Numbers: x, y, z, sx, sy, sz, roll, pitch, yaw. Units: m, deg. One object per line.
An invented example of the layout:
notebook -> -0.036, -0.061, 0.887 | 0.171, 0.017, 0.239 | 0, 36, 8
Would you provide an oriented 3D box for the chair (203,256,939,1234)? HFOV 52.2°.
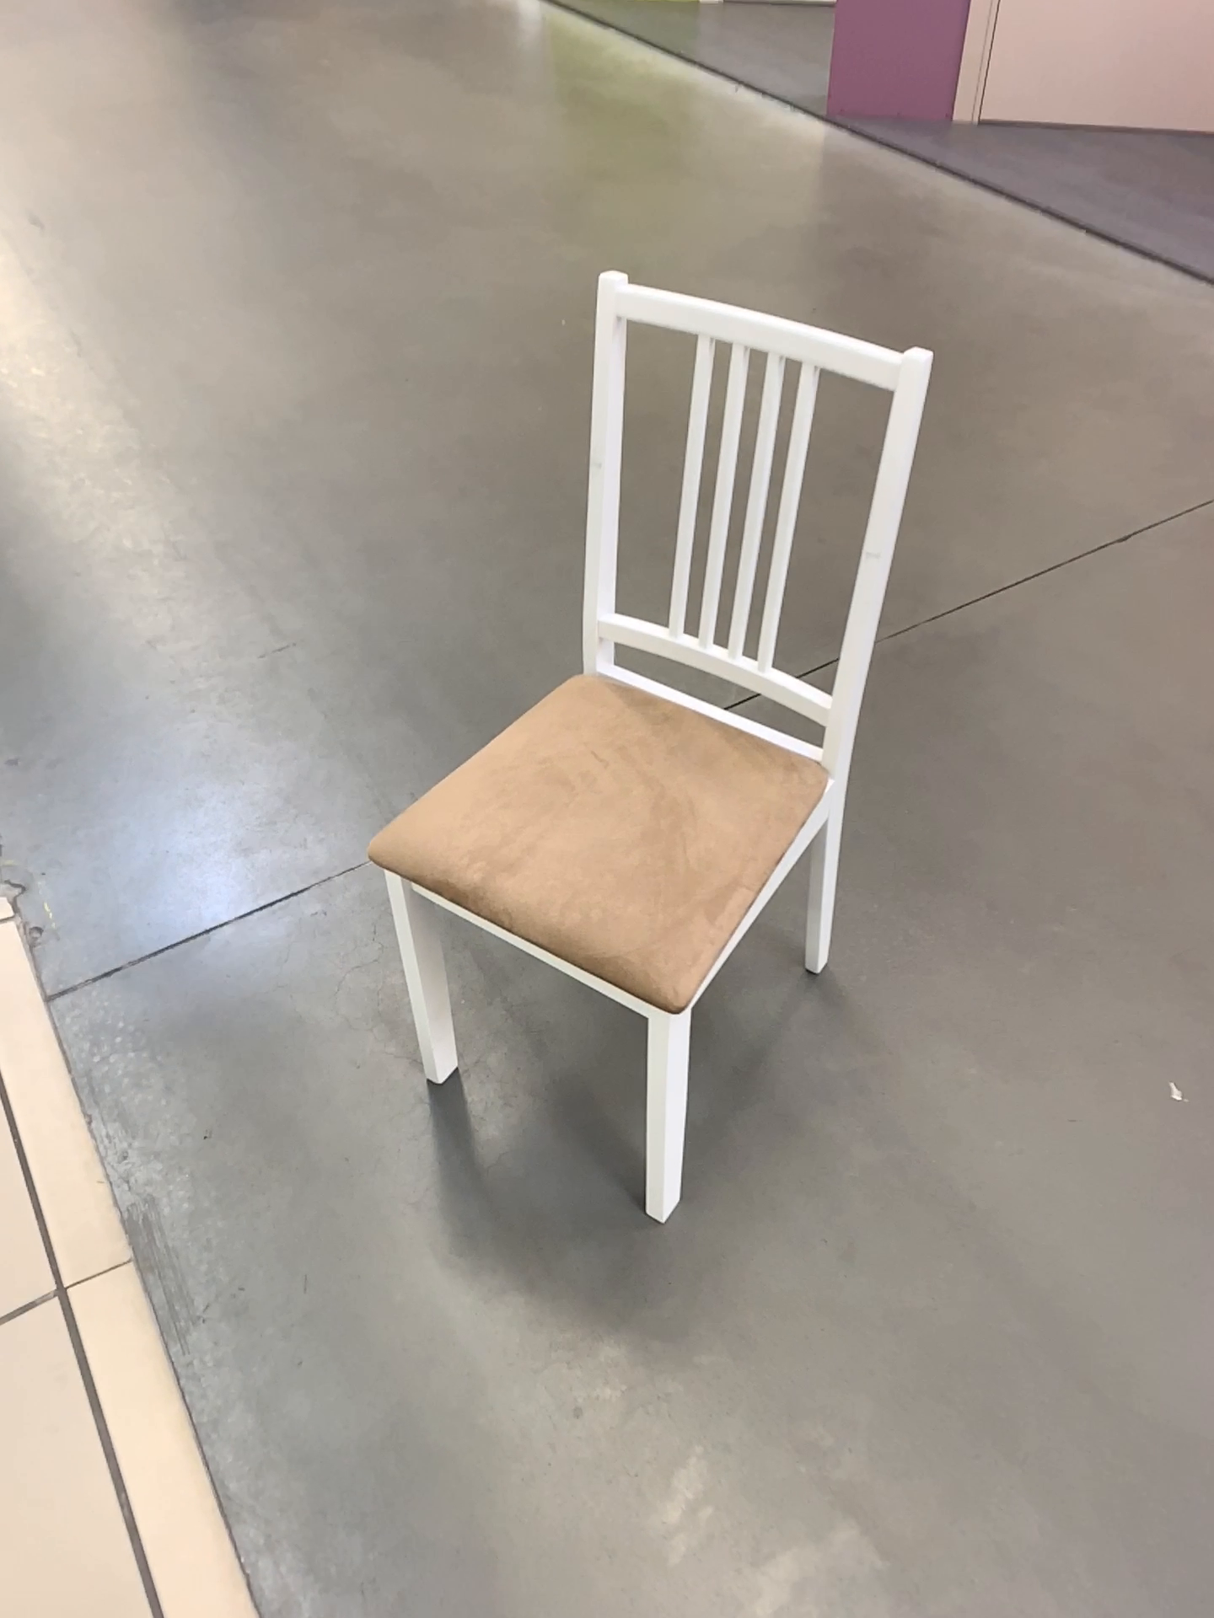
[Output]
chair -> 0.002, -0.045, 1.311 | 0.401, 0.816, 0.502 | 23, 50, 23
